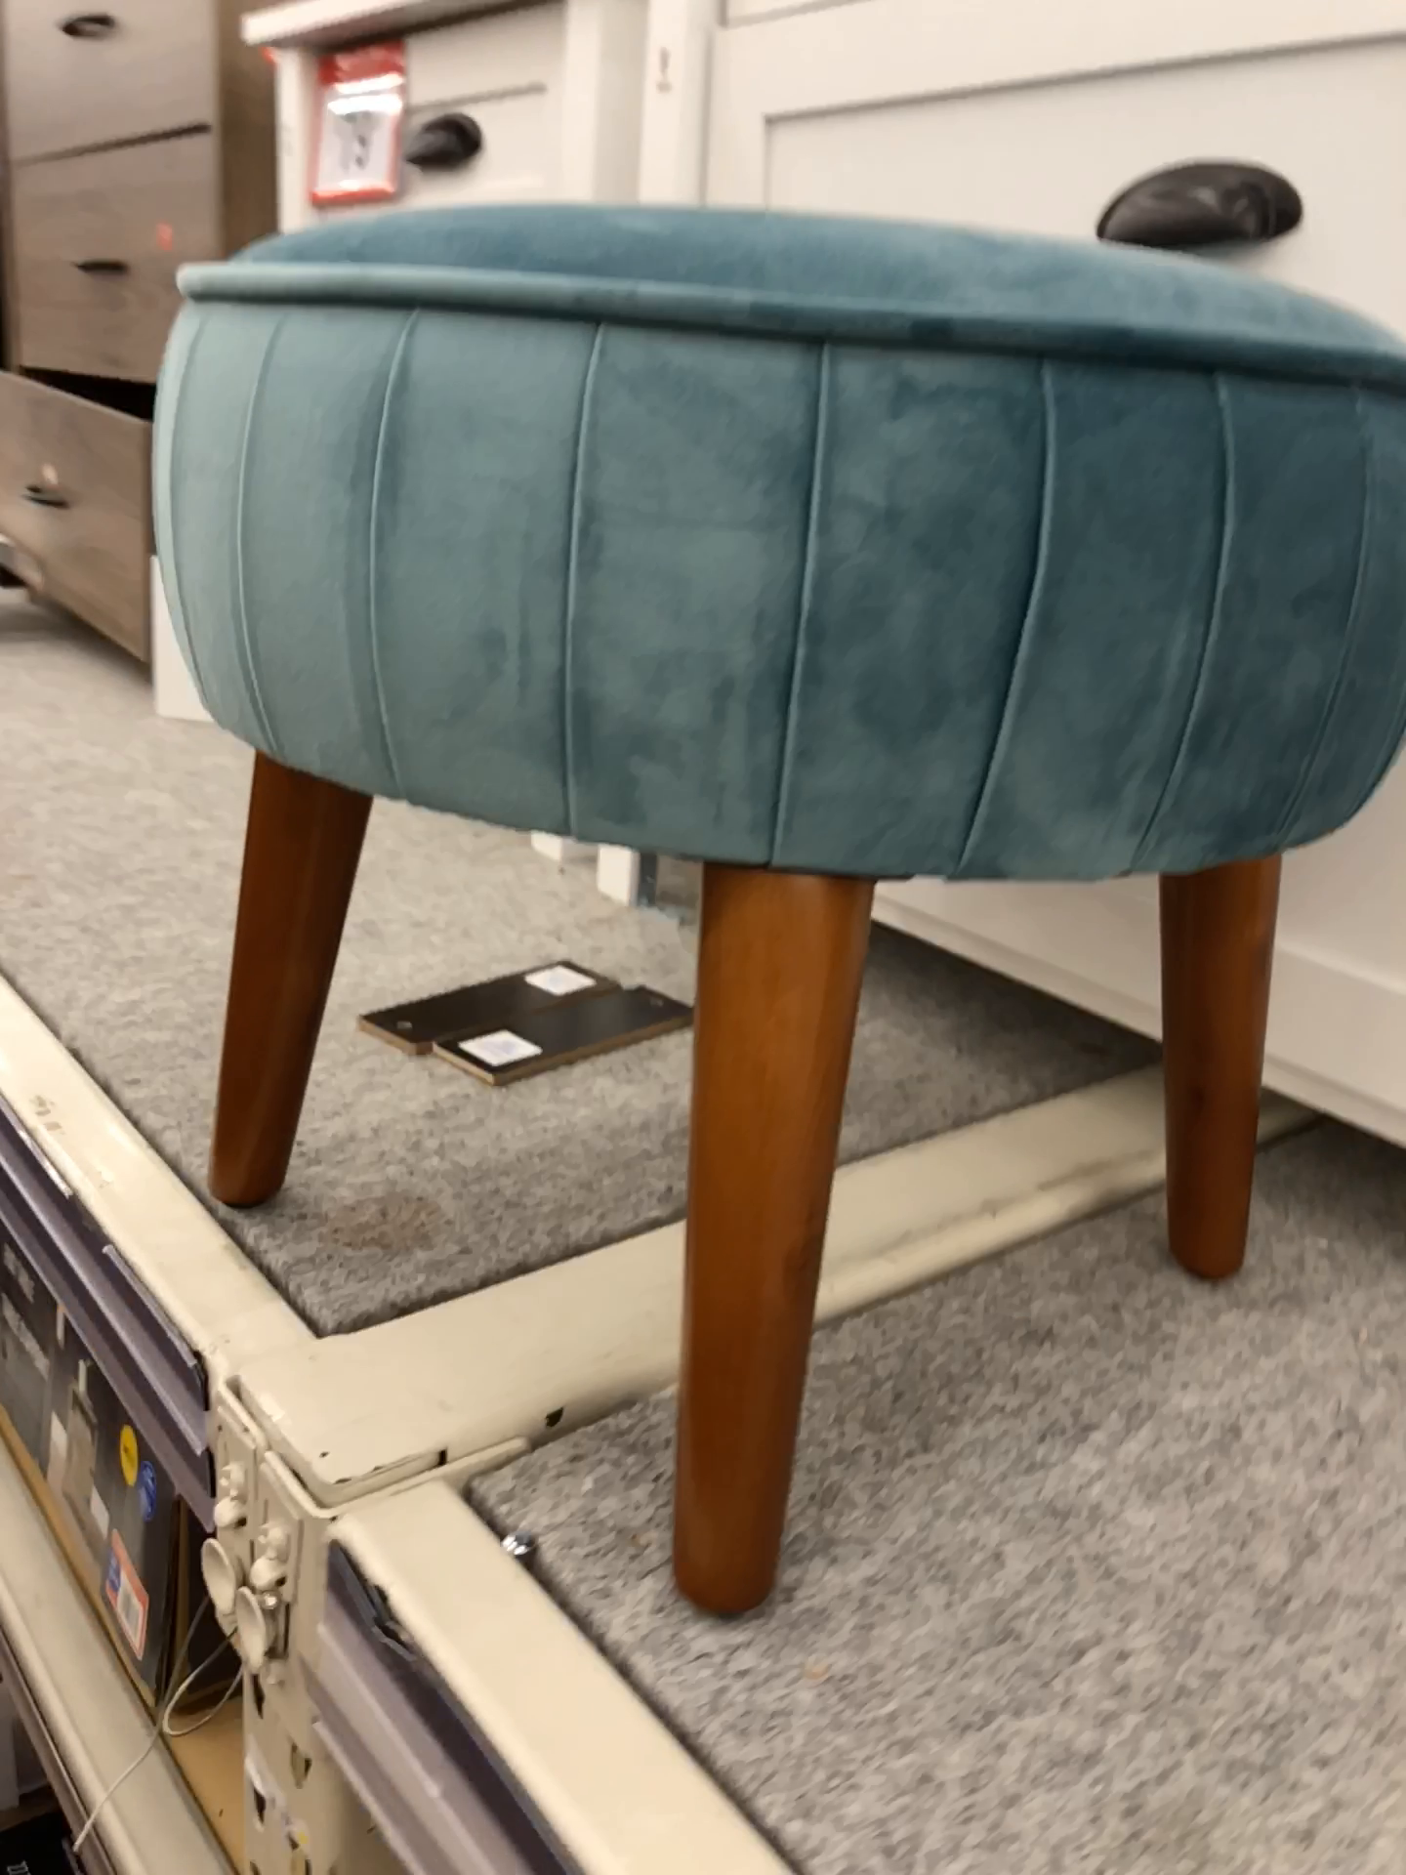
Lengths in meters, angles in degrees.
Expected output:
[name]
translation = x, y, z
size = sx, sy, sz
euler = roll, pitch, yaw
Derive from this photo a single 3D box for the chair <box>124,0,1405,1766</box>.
[chair]
translation = 0.039, -0.058, 0.584
size = 0.371, 0.399, 0.371
euler = -9, 23, -36
